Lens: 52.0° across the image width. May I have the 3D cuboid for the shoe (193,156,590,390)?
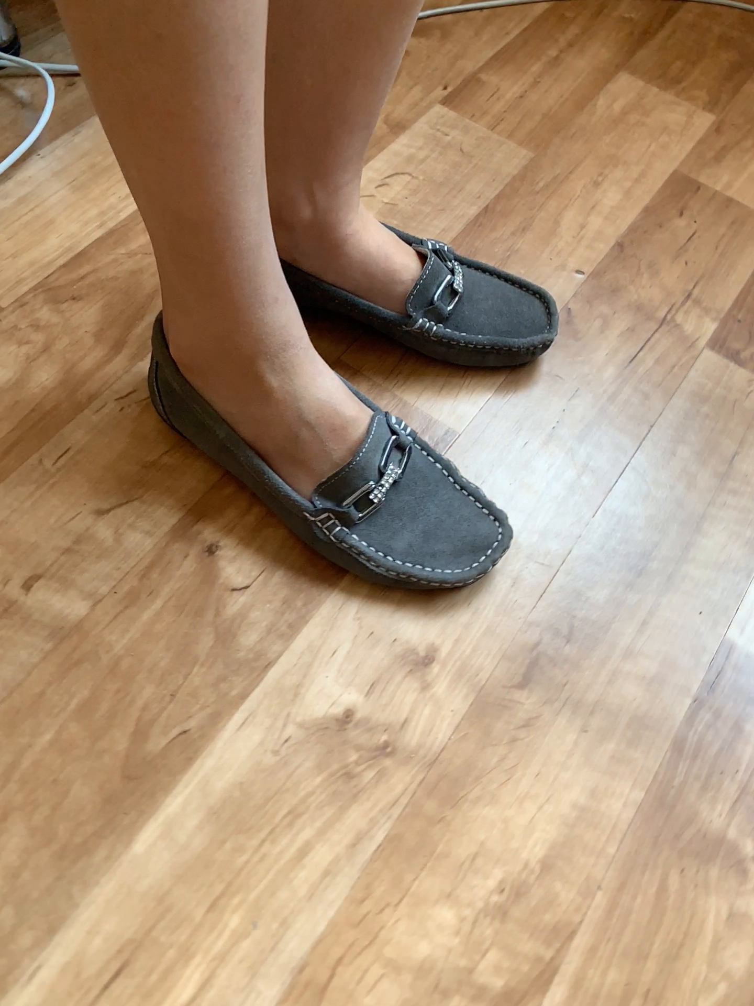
[{"bbox_3d":[0.013,-0.152,0.512,0.240,0.060,0.100,9,60,-1],"label":"shoe"}]

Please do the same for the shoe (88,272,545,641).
[{"bbox_3d":[-0.036,-0.031,0.449,0.240,0.060,0.090,31,66,11],"label":"shoe"}]
